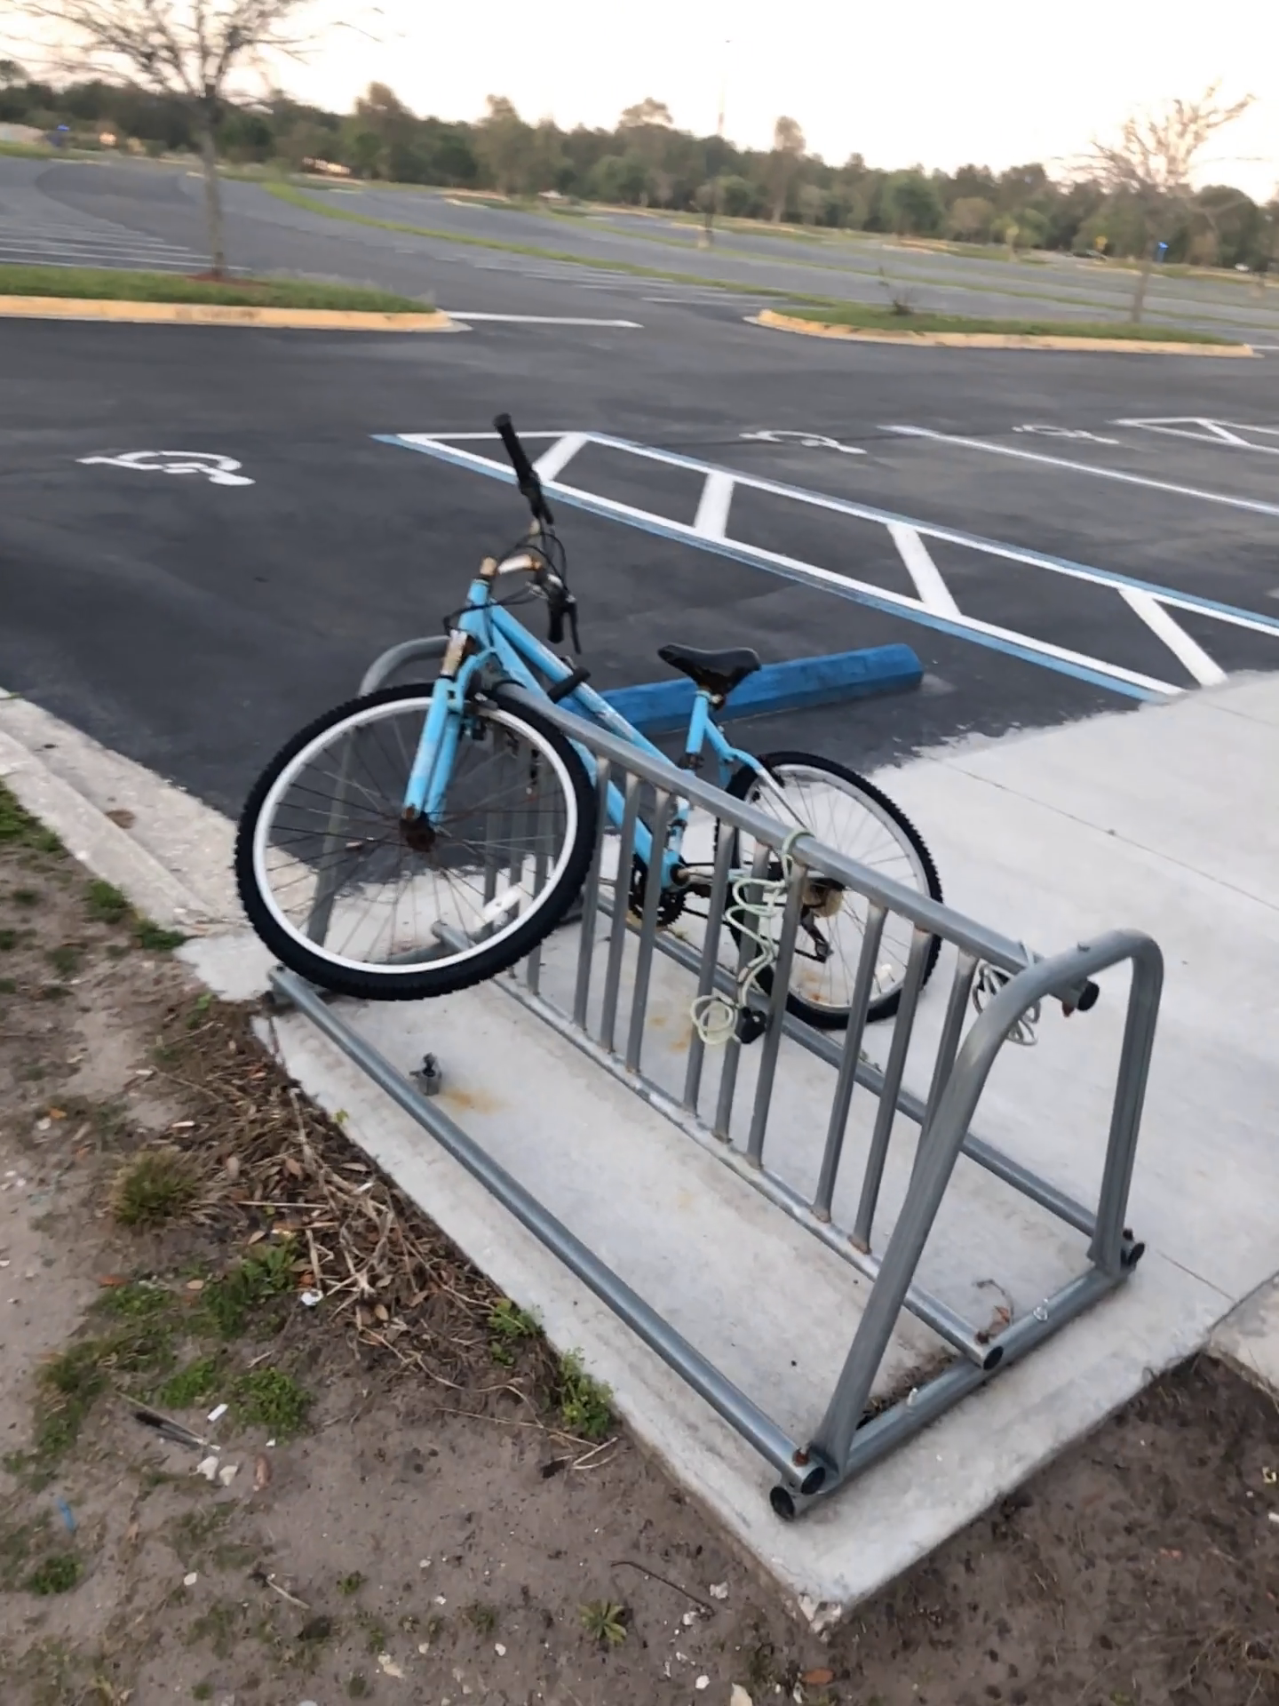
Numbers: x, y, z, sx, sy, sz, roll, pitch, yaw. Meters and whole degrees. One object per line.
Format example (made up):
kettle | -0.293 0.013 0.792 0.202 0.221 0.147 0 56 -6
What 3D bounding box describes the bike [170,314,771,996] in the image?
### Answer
bike | -0.376 -0.355 2.749 0.937 1.128 0.550 0 25 -18
